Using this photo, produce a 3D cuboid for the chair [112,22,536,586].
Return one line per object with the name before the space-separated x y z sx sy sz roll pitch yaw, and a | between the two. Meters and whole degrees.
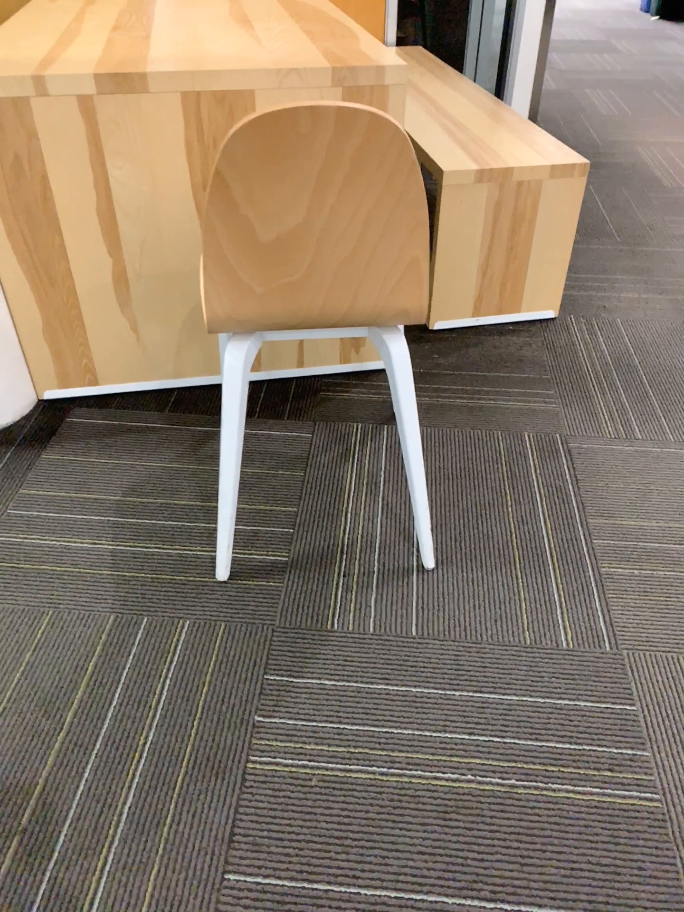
chair | -0.042 -0.271 1.267 0.480 0.805 0.584 -3 39 -4
